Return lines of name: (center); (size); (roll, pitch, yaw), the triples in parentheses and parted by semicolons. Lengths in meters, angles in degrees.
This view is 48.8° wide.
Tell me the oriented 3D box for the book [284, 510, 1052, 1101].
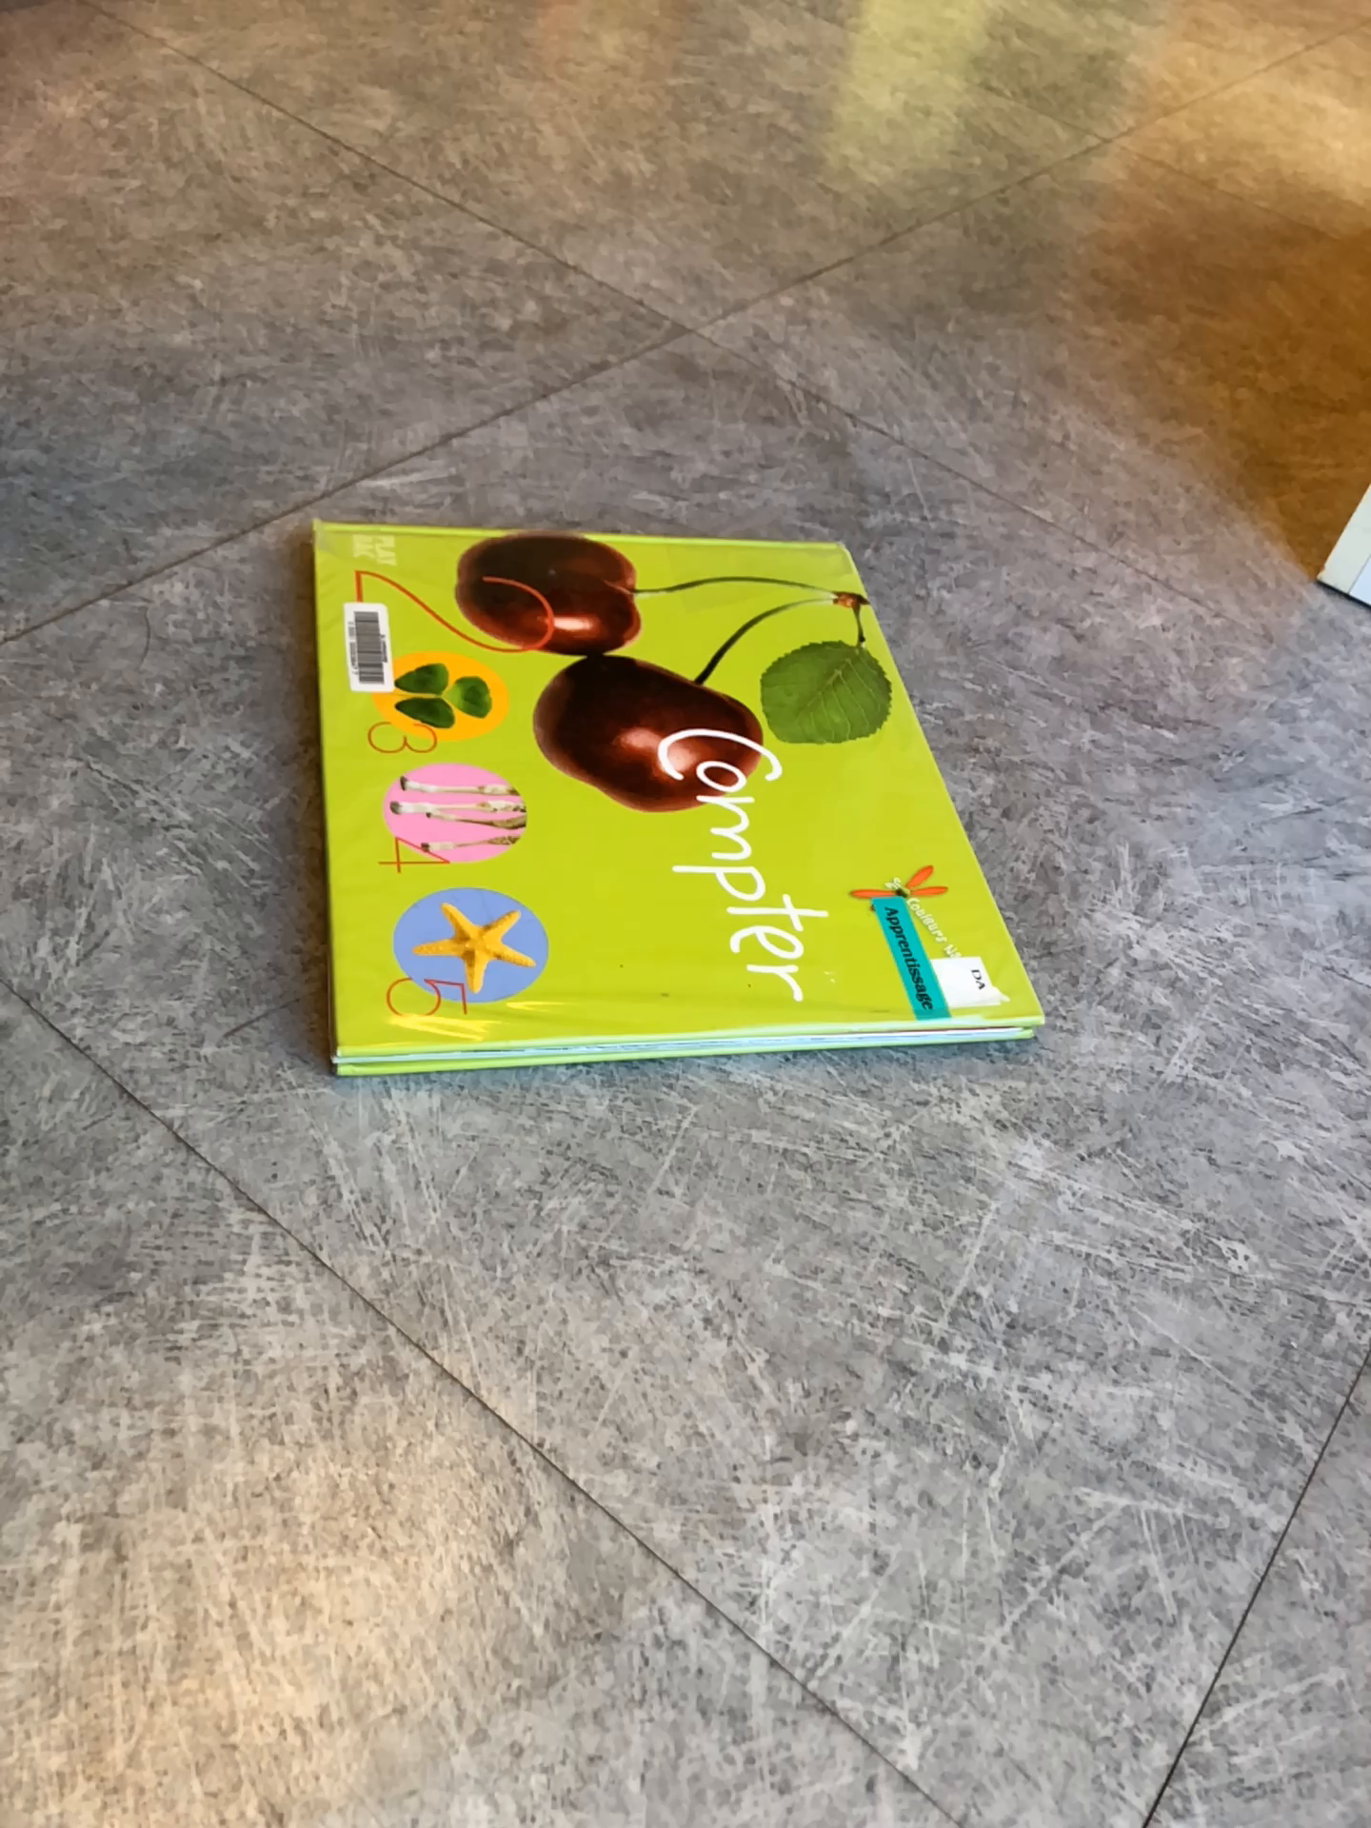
book: (-0.022, -0.055, 0.520); (0.222, 0.021, 0.256); (-3, 49, -13)
